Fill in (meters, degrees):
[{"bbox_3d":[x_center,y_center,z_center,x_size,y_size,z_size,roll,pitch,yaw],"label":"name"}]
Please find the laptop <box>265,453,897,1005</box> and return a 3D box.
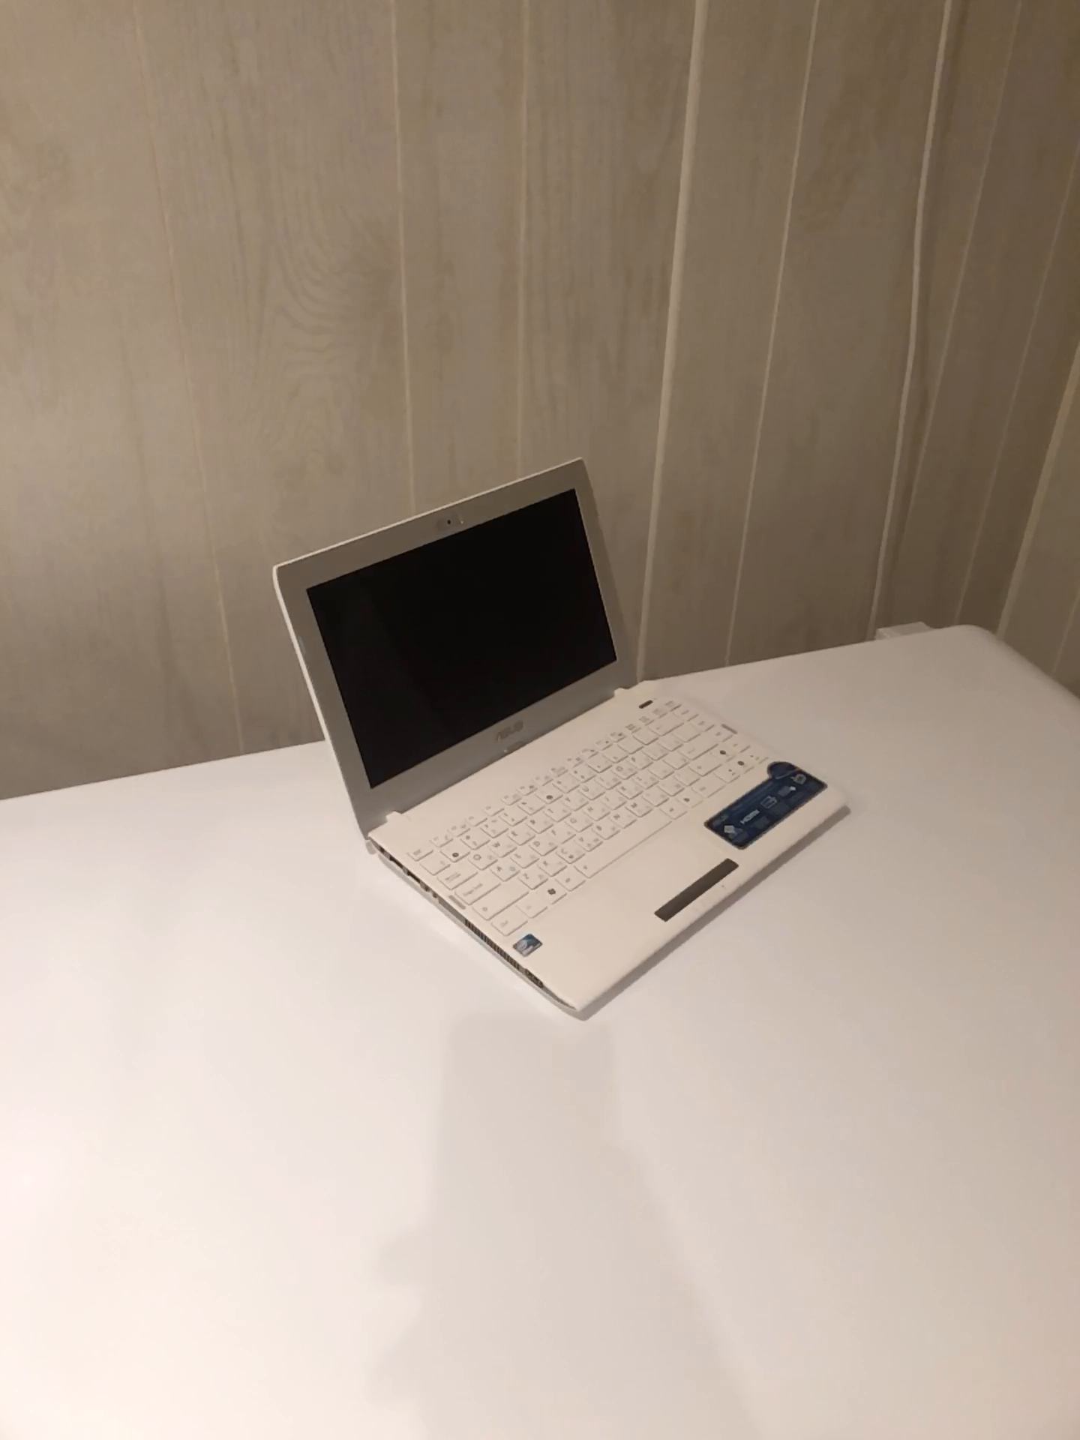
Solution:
[{"bbox_3d":[0.026,-0.021,0.821,0.292,0.168,0.289,32,44,33],"label":"laptop"}]
